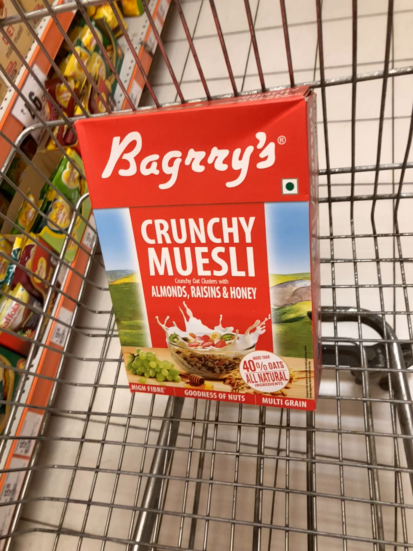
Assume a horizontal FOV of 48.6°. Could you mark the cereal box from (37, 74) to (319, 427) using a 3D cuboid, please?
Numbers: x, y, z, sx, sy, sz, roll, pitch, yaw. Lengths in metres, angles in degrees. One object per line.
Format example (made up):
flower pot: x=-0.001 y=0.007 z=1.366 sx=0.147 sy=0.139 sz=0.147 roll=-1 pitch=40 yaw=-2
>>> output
cereal box: x=-0.006 y=-0.007 z=0.391 sx=0.190 sy=0.279 sz=0.060 roll=0 pitch=27 yaw=17
